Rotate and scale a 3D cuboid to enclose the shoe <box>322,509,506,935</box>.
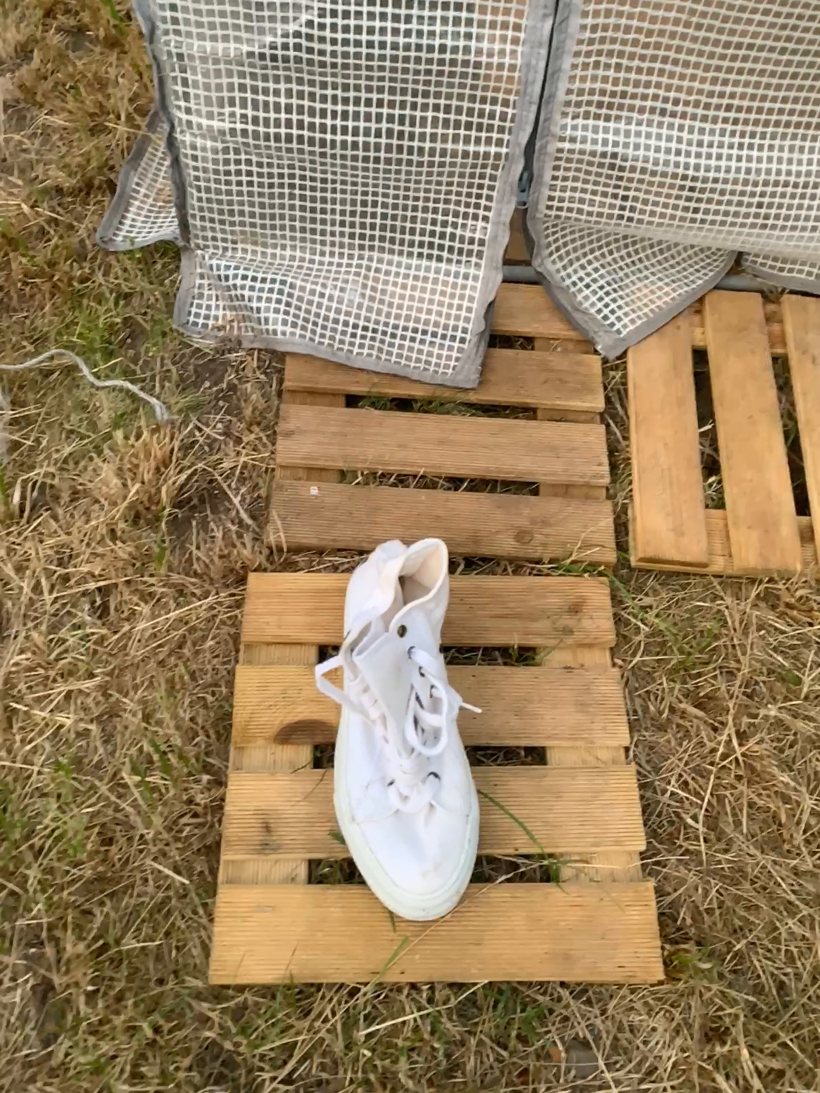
[{"bbox_3d":[-0.005,0.112,0.571,0.100,0.109,0.262,0,56,-4],"label":"shoe"}]
